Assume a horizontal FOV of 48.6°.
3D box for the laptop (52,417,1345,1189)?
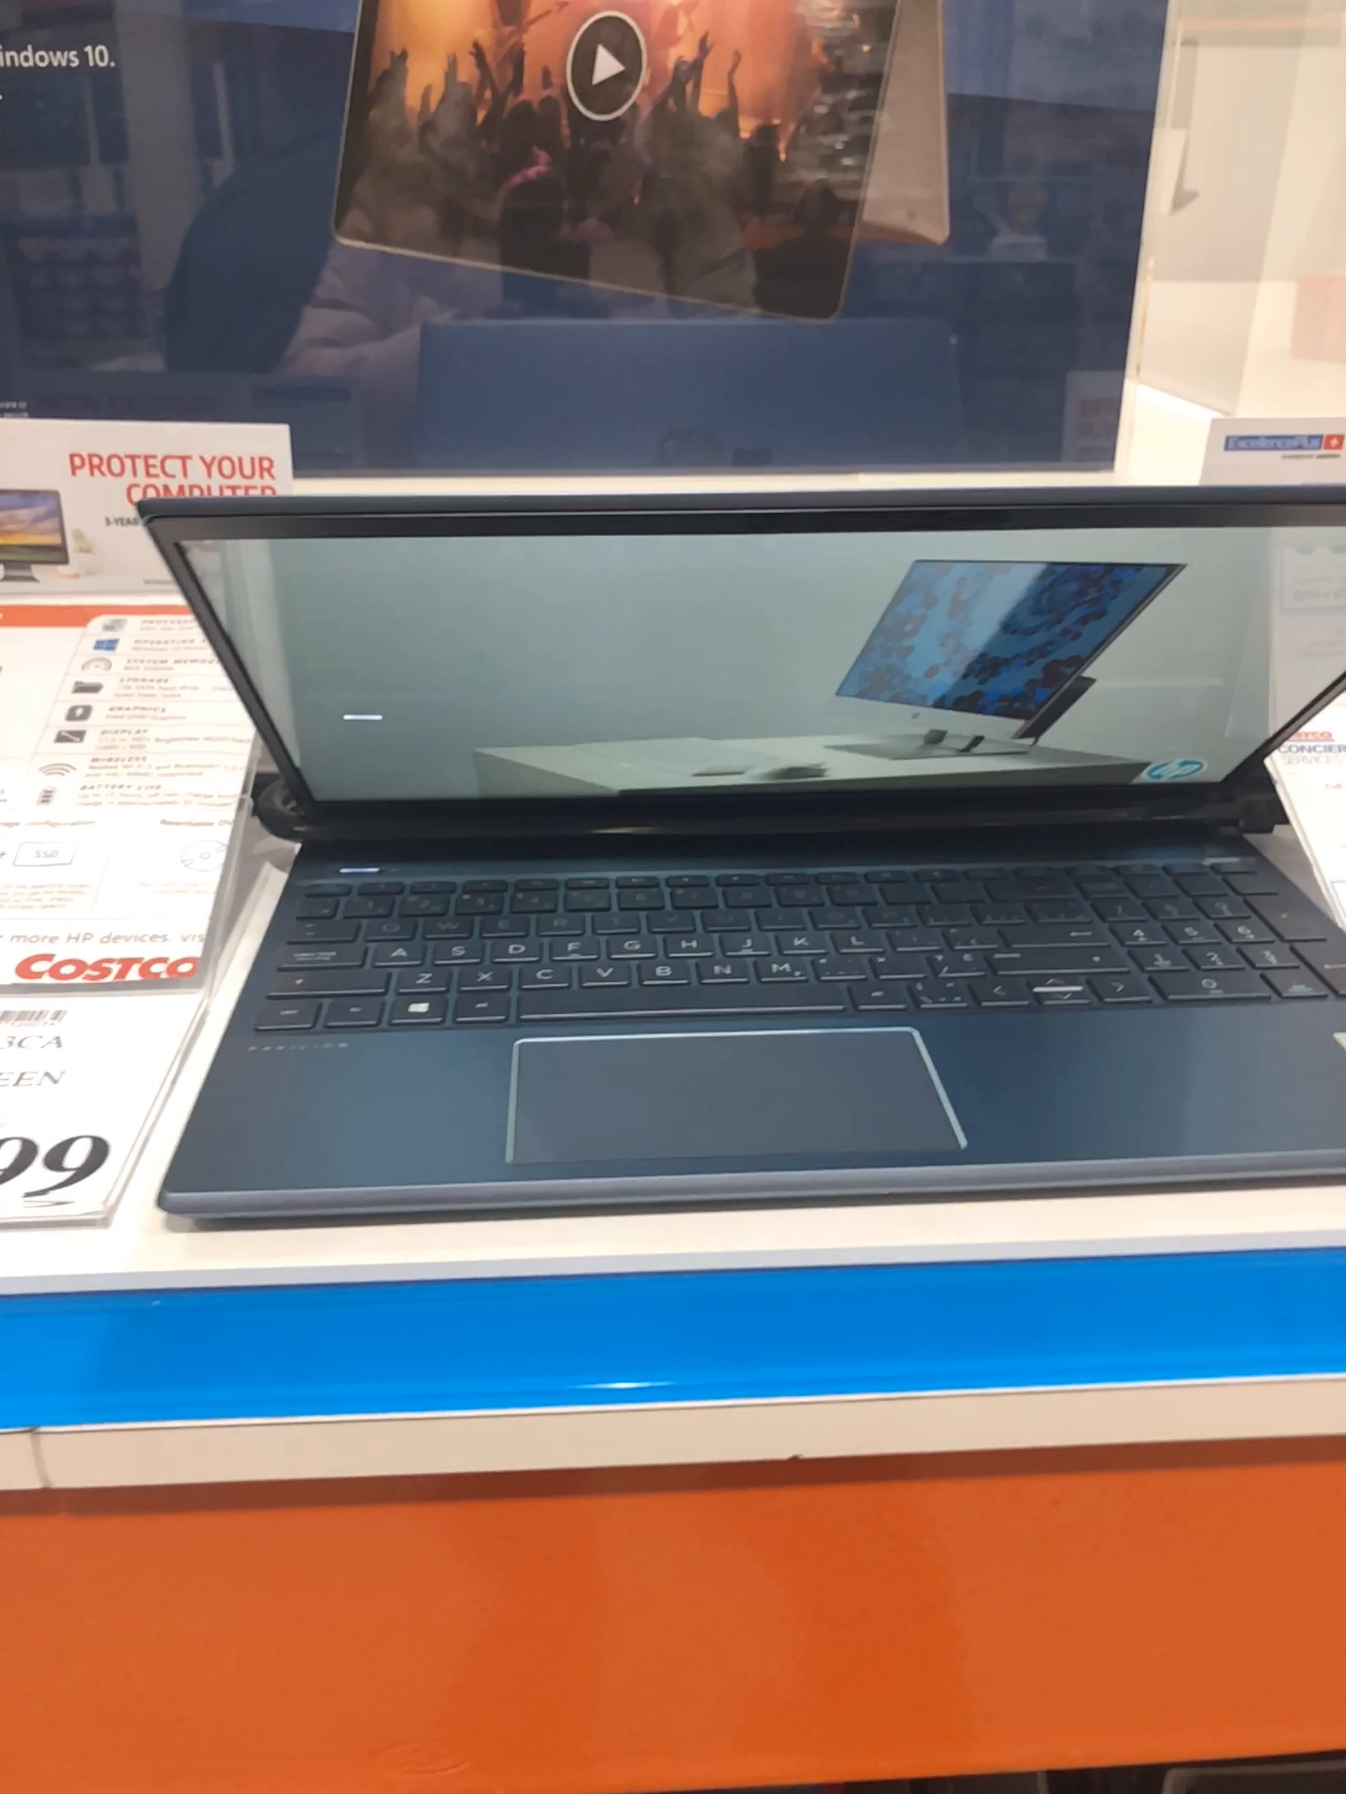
[{"bbox_3d":[0.041,-0.047,0.435,0.346,0.149,0.219,-2,25,-3],"label":"laptop"}]
